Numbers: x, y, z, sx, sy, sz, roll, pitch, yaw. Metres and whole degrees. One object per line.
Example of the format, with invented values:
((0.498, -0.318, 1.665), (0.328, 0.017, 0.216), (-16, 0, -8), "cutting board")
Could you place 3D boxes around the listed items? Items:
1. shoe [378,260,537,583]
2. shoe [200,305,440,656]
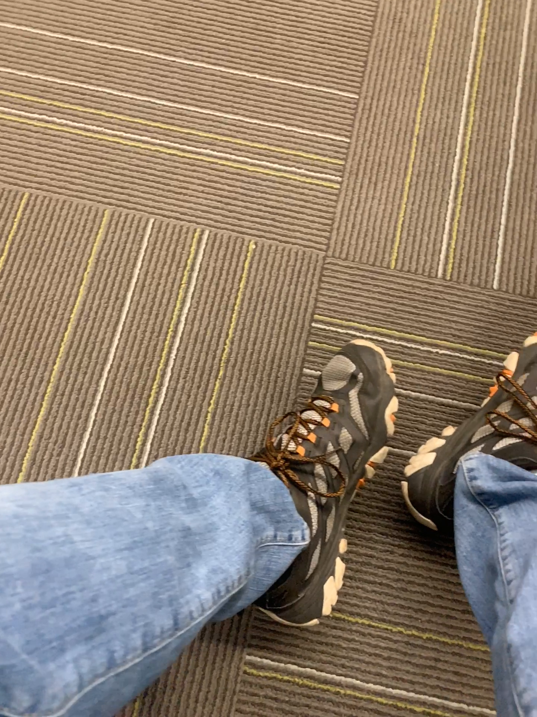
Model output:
((0.288, 0.065, 0.602), (0.325, 0.119, 0.119), (-47, 47, -5), "shoe")
((0.057, 0.119, 0.582), (0.127, 0.119, 0.325), (22, 81, -36), "shoe")
